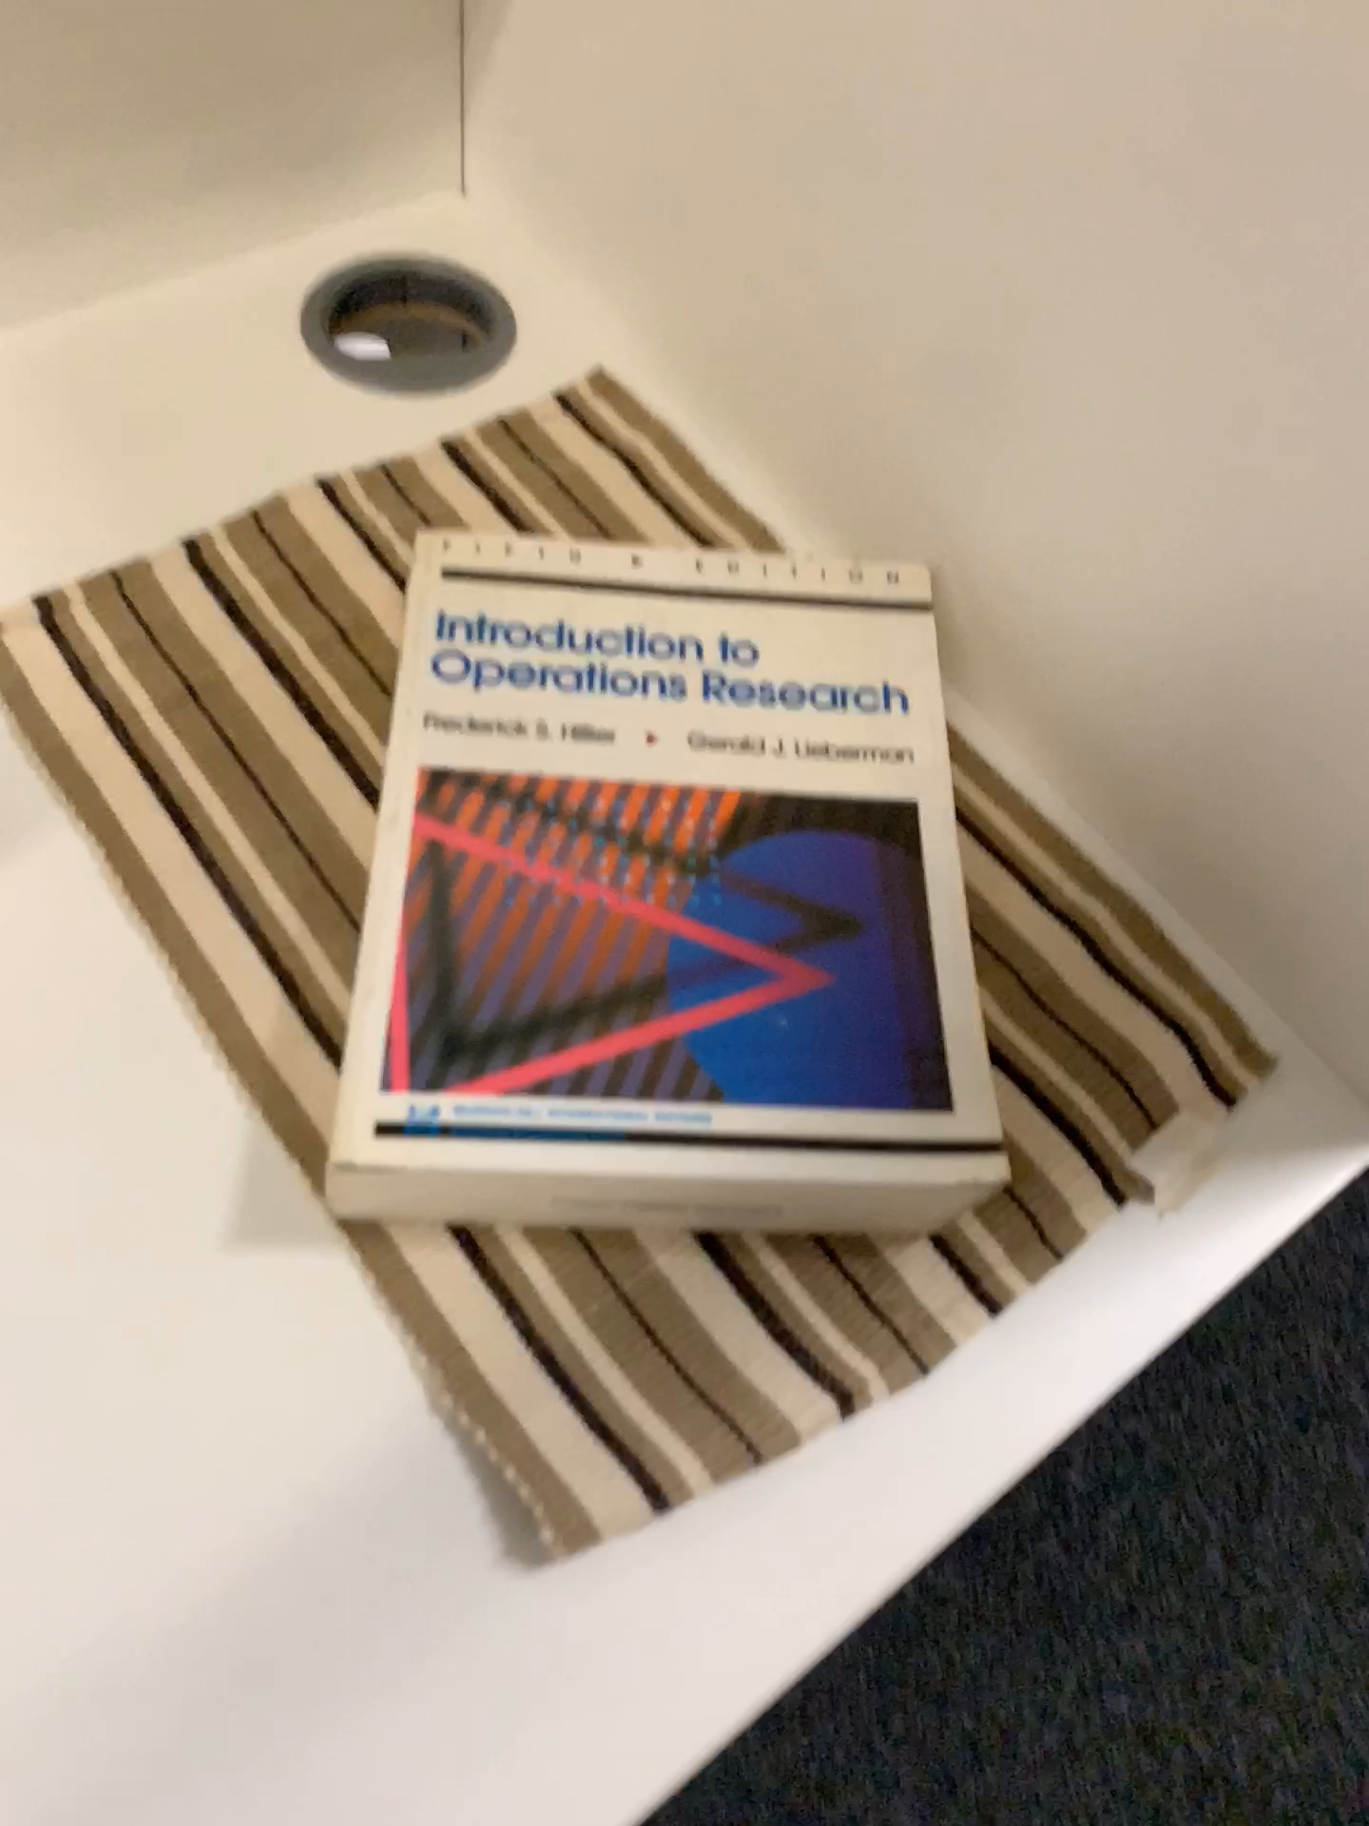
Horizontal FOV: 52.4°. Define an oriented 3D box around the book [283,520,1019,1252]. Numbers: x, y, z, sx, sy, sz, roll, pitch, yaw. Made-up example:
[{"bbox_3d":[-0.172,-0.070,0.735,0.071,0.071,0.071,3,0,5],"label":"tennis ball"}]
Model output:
[{"bbox_3d":[-0.010,-0.016,0.452,0.196,0.053,0.235,4,58,-6],"label":"book"}]
